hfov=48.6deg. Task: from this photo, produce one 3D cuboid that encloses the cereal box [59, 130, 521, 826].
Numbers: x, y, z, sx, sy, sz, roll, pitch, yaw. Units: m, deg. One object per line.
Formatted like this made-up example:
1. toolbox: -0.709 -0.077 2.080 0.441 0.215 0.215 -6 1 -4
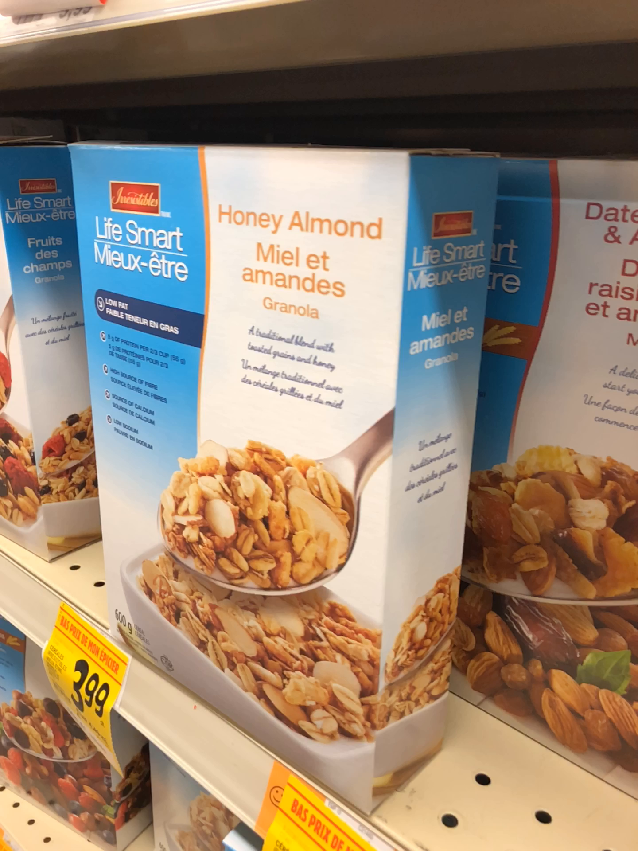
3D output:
1. cereal box: -0.022 0.008 0.294 0.170 0.238 0.060 18 26 38
